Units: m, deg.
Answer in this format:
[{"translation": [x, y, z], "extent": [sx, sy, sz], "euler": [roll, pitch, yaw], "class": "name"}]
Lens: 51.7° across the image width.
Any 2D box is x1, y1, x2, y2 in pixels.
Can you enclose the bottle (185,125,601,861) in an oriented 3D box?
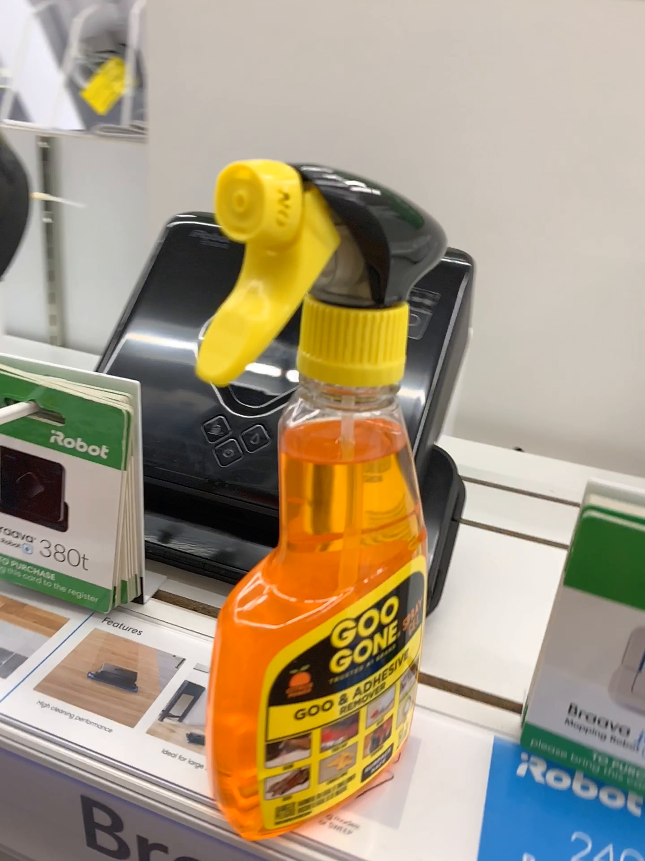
[{"translation": [0.013, 0.029, 0.219], "extent": [0.100, 0.226, 0.050], "euler": [-15, 32, -38], "class": "bottle"}]
